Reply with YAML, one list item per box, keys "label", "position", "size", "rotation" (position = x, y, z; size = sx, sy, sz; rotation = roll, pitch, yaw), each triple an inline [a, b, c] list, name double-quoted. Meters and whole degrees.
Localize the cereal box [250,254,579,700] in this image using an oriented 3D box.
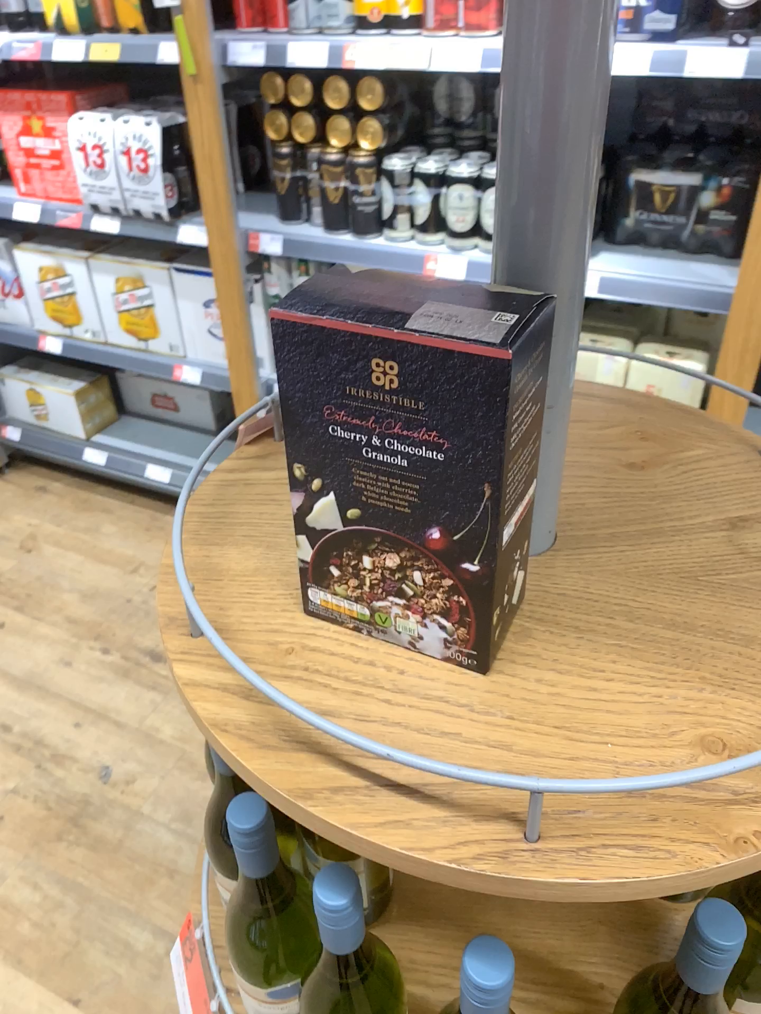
- label: "cereal box"
  position: [0.022, -0.016, 0.456]
  size: [0.140, 0.218, 0.091]
  rotation: [15, 39, 22]
